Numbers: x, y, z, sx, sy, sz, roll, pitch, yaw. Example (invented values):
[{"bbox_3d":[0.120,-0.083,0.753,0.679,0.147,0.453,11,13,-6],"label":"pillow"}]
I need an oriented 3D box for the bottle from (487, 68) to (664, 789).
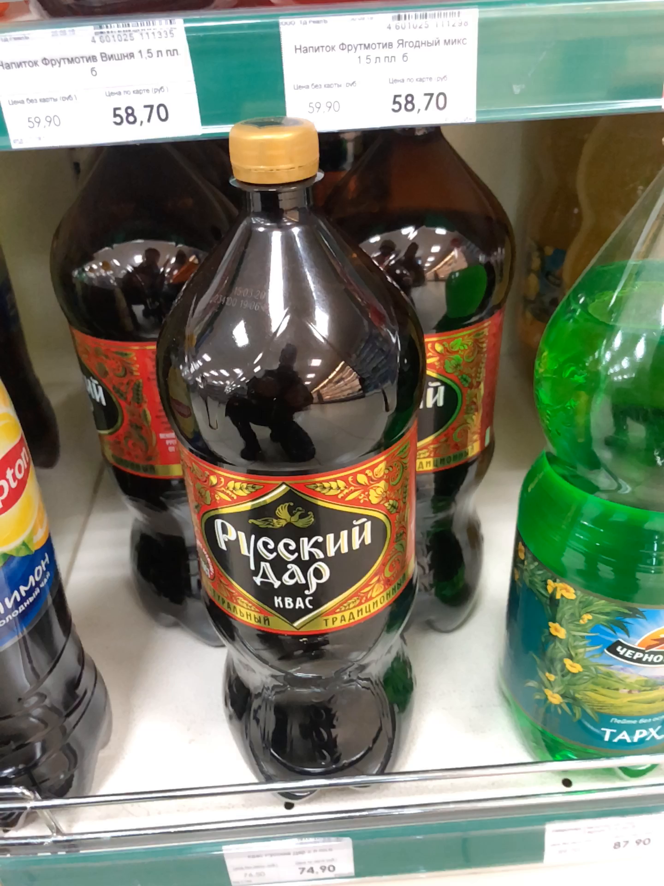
[{"bbox_3d":[0.136,0.023,0.330,0.099,0.327,0.085,-2,35,3],"label":"bottle"}]

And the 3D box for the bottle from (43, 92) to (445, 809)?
[{"bbox_3d":[-0.015,0.030,0.334,0.110,0.322,0.101,-3,35,2],"label":"bottle"}]
